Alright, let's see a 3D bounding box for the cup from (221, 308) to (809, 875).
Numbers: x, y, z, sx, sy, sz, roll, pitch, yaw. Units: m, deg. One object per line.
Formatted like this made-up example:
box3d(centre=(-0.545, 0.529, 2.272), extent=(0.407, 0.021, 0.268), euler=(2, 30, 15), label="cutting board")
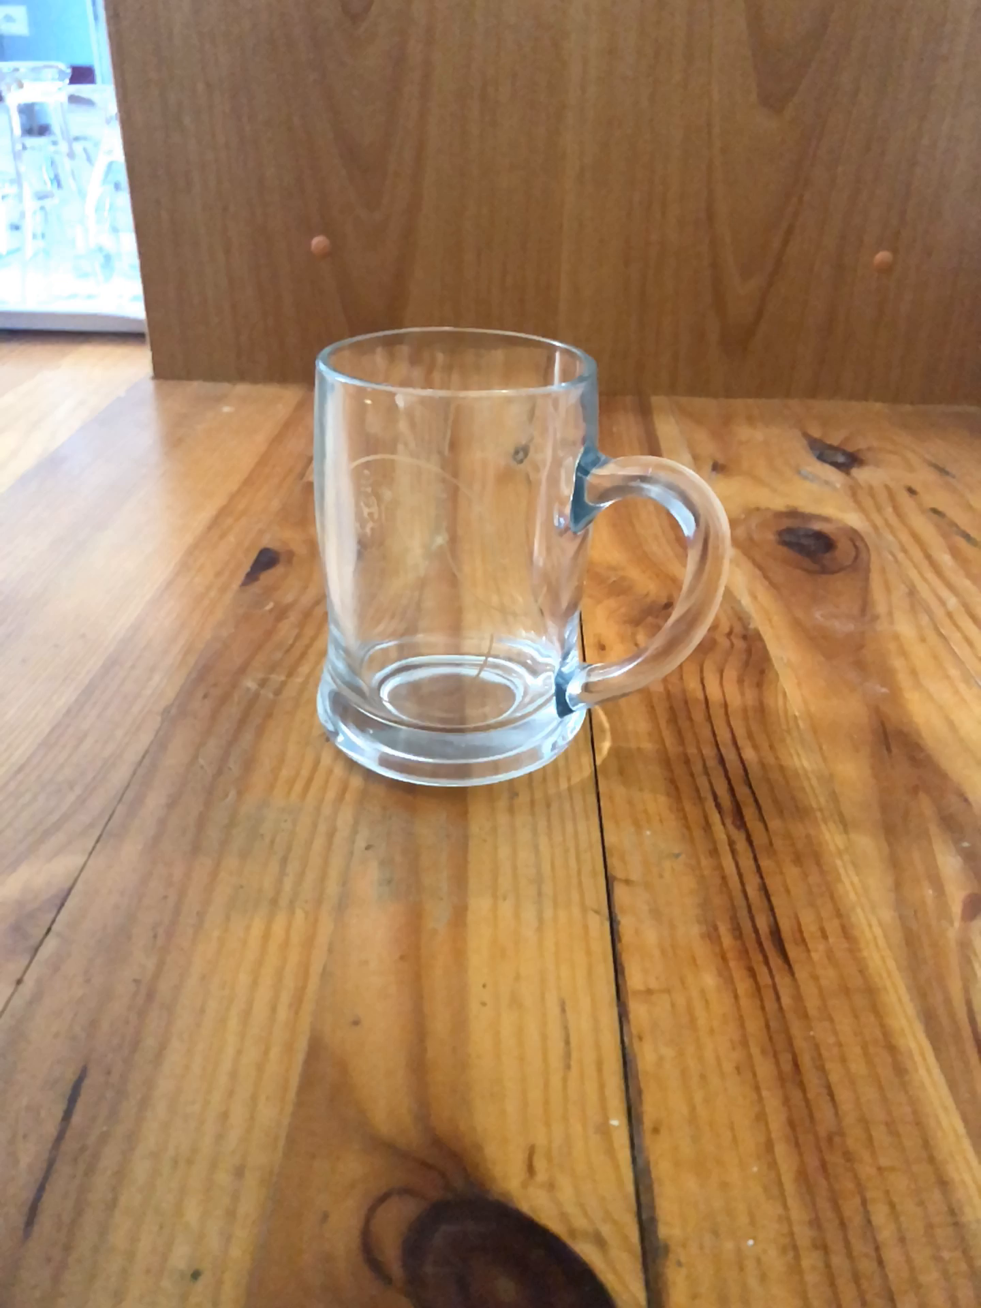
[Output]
box3d(centre=(0.007, -0.027, 0.314), extent=(0.128, 0.110, 0.092), euler=(17, 33, 25), label="cup")
